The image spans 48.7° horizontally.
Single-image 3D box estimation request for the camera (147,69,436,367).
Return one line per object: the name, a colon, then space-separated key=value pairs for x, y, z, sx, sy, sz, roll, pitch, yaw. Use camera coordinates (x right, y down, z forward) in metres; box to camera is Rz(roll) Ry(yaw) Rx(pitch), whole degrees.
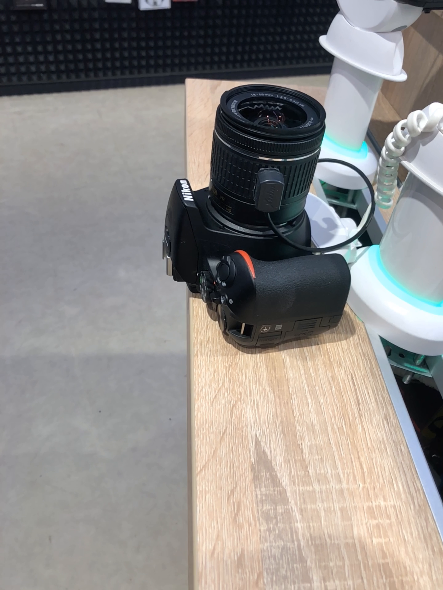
camera: x=0.025 y=-0.054 z=0.305 sx=0.115 sy=0.117 sz=0.133 roll=-9 pitch=45 yaw=-15
